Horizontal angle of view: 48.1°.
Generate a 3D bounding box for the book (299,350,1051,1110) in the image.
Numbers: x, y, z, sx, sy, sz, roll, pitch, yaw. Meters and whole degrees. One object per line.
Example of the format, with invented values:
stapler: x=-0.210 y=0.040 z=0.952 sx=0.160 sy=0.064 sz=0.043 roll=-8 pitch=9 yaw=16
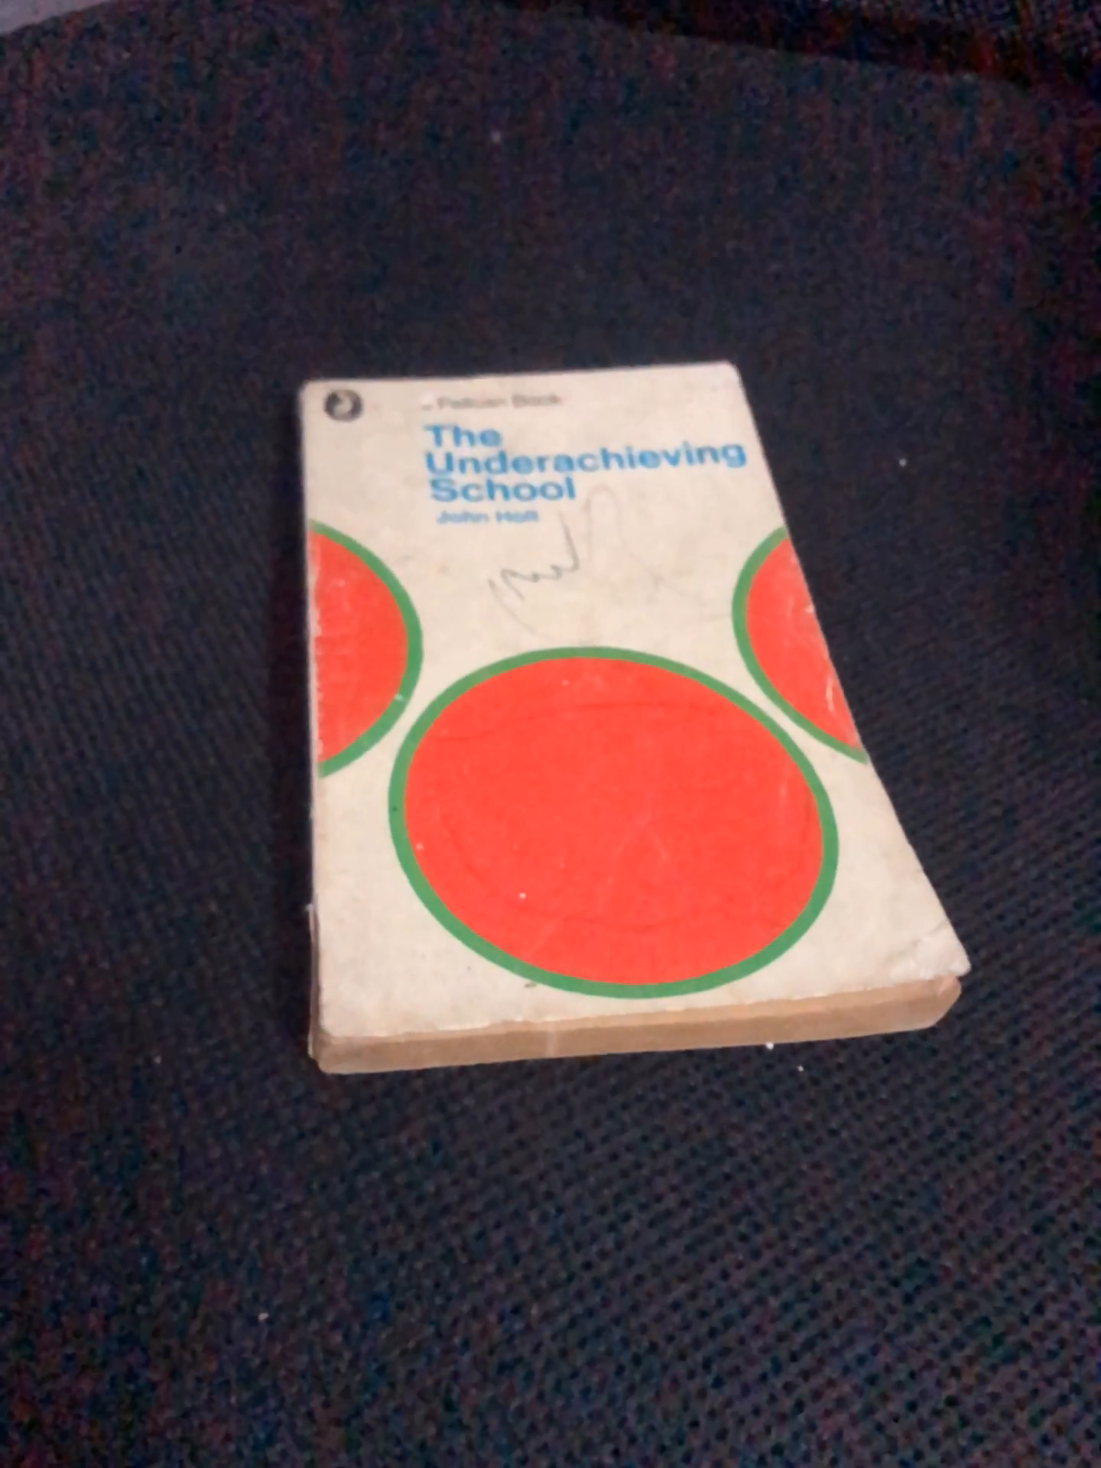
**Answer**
book: x=0.010 y=-0.019 z=0.258 sx=0.120 sy=0.020 sz=0.182 roll=-3 pitch=51 yaw=-9
